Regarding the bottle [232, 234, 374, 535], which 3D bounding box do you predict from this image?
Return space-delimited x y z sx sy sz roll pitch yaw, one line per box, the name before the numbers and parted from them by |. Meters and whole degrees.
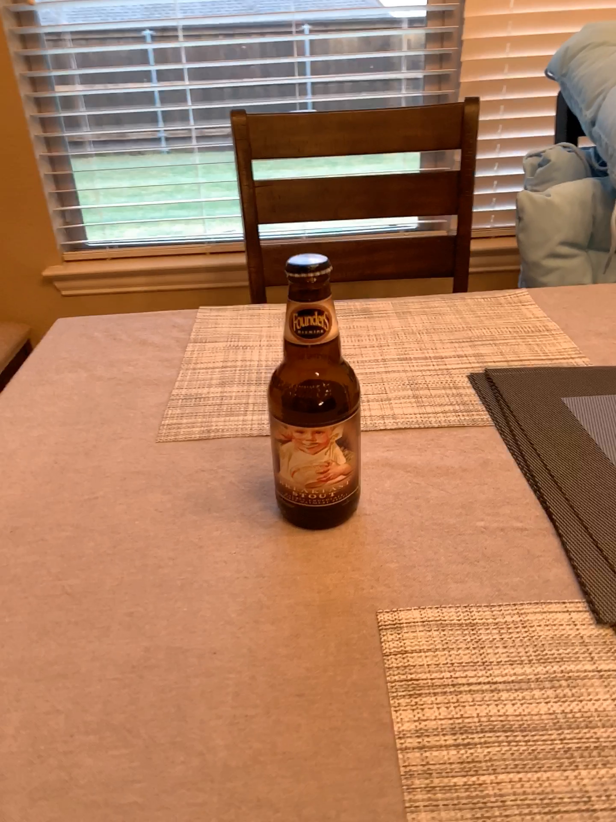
bottle | 0.005 -0.016 0.434 0.080 0.189 0.080 -2 29 1
